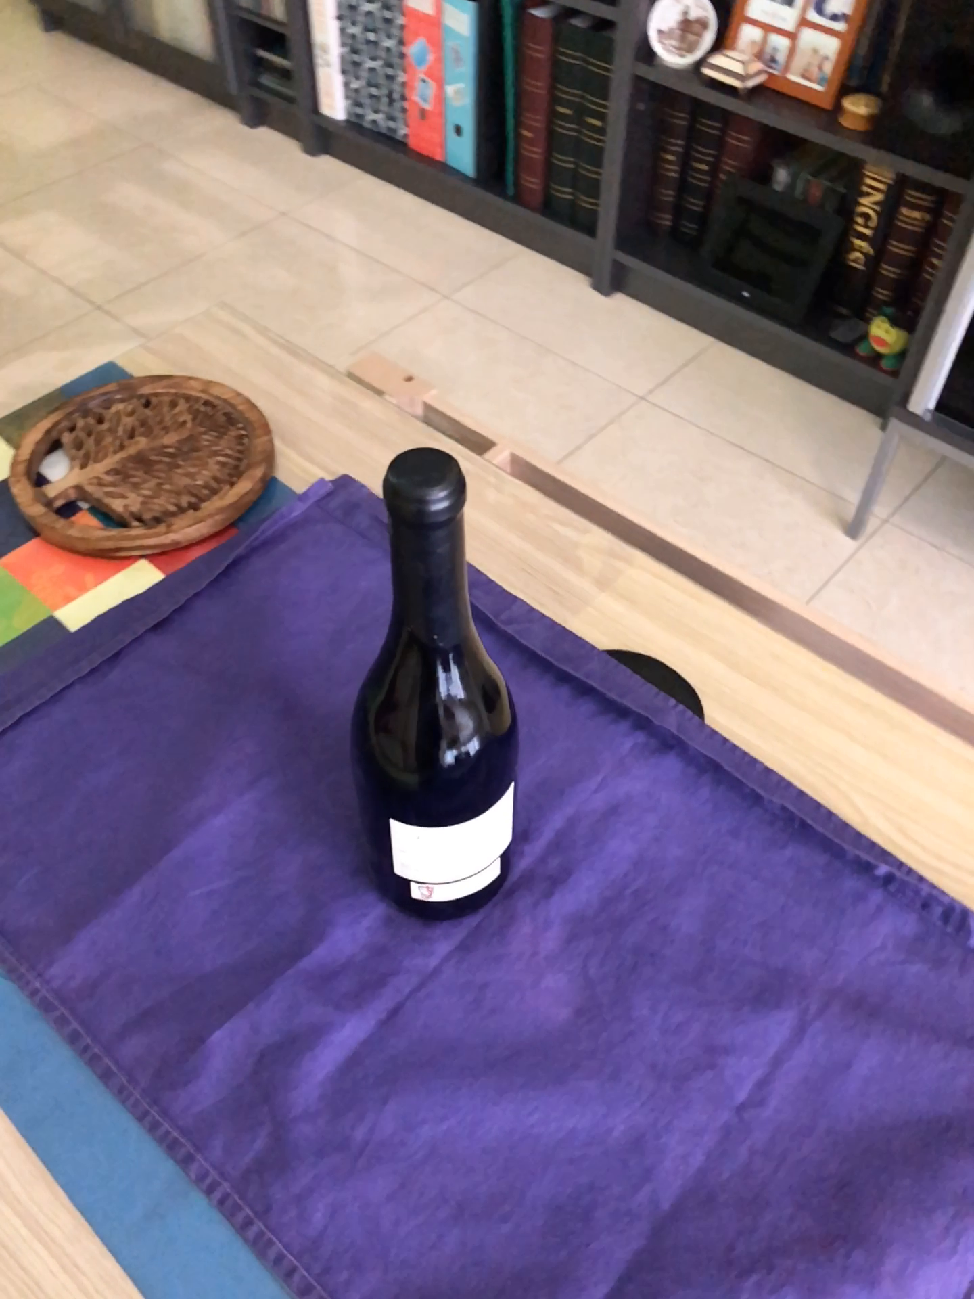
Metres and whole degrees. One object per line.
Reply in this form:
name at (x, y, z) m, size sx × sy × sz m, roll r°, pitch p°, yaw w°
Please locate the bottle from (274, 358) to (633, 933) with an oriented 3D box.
bottle at (-0.016, 0.013, 0.497) m, size 0.110 × 0.259 × 0.100 m, roll 0°, pitch 50°, yaw 0°
